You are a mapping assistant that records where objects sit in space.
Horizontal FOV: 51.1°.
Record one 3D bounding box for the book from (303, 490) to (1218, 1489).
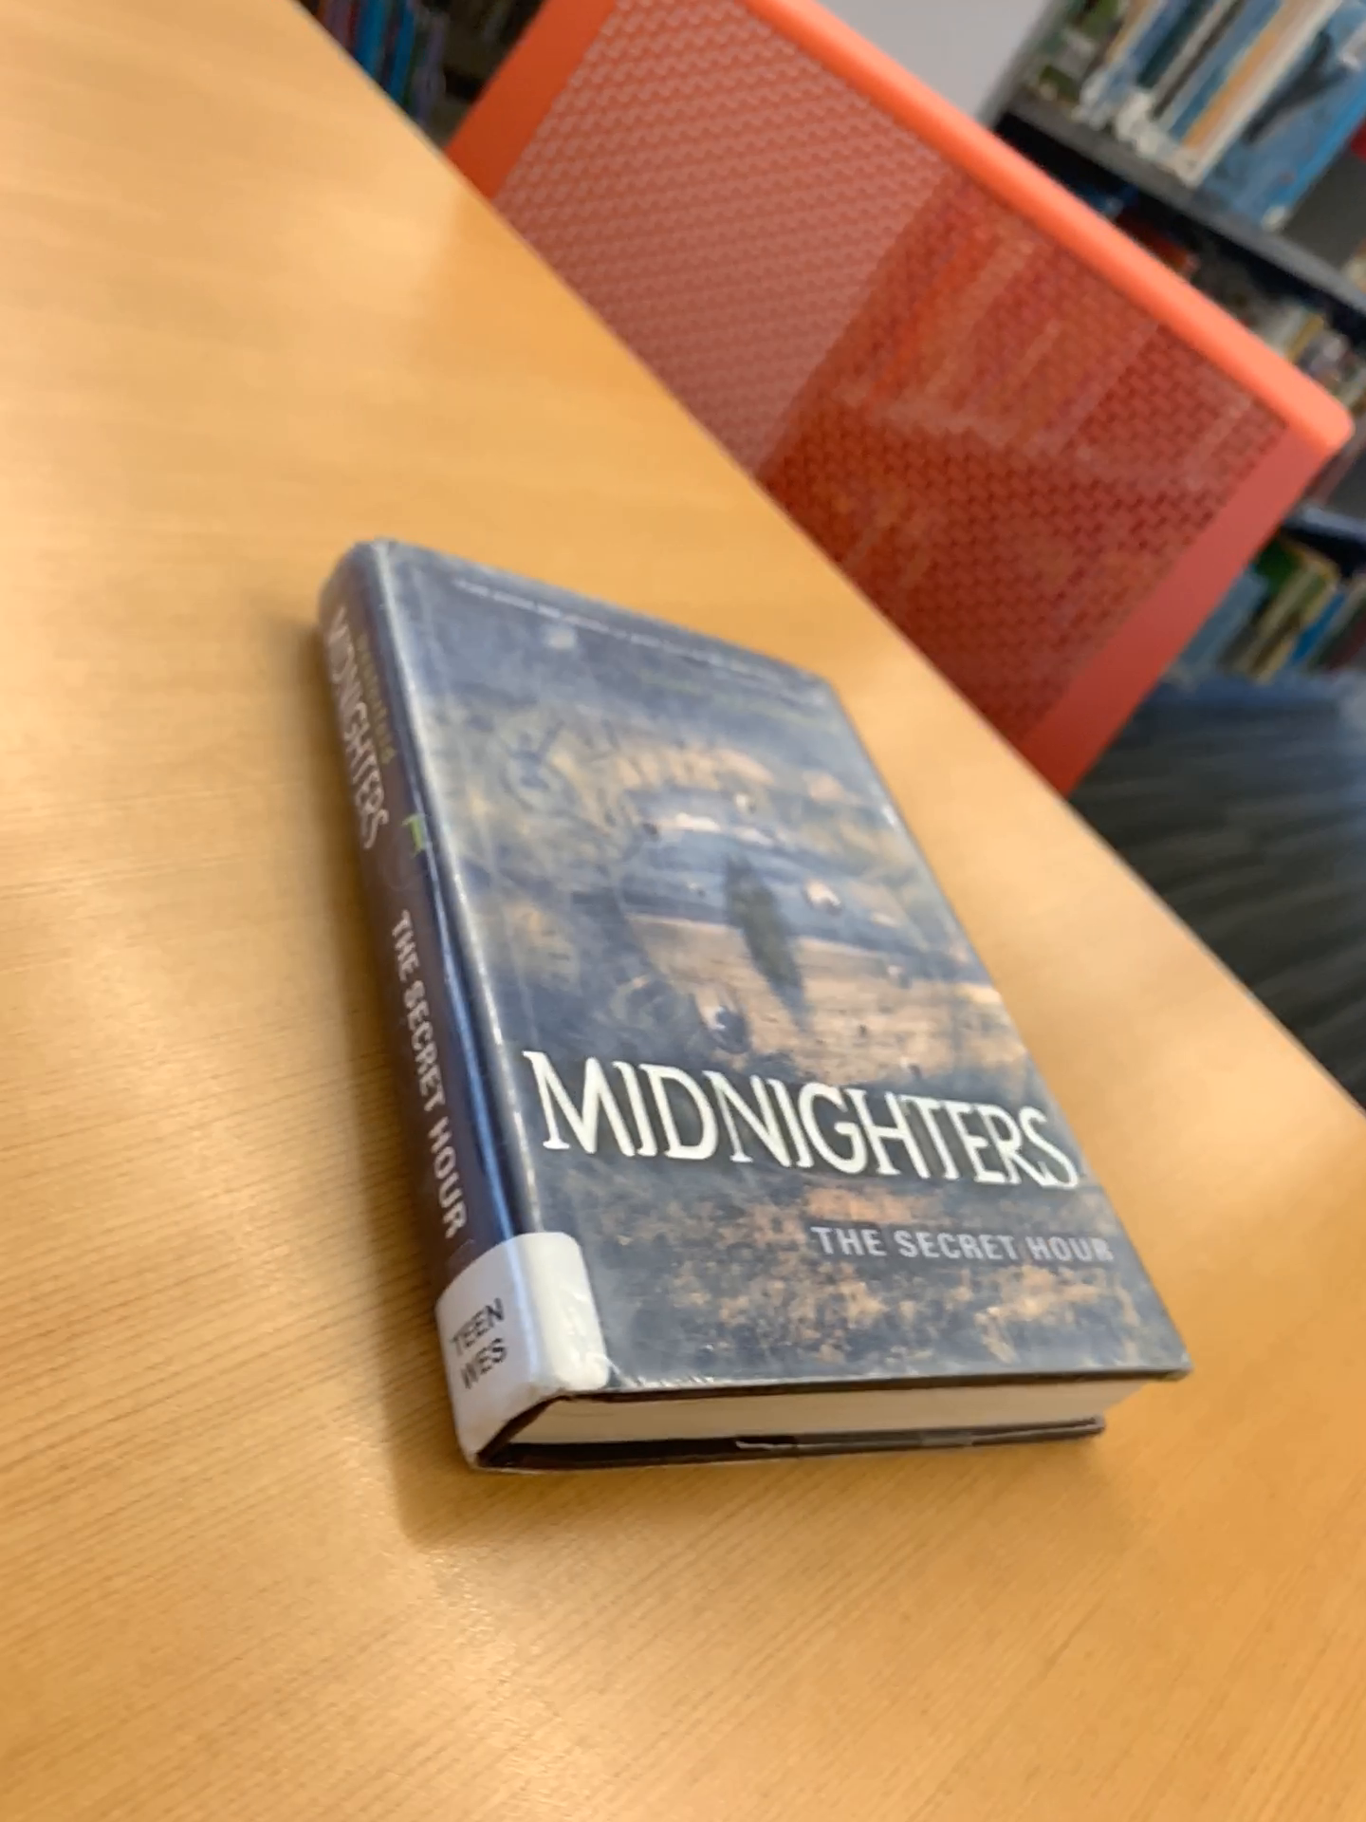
[{"bbox_3d":[0.005,0.007,0.318,0.151,0.036,0.221,11,43,-33],"label":"book"}]
